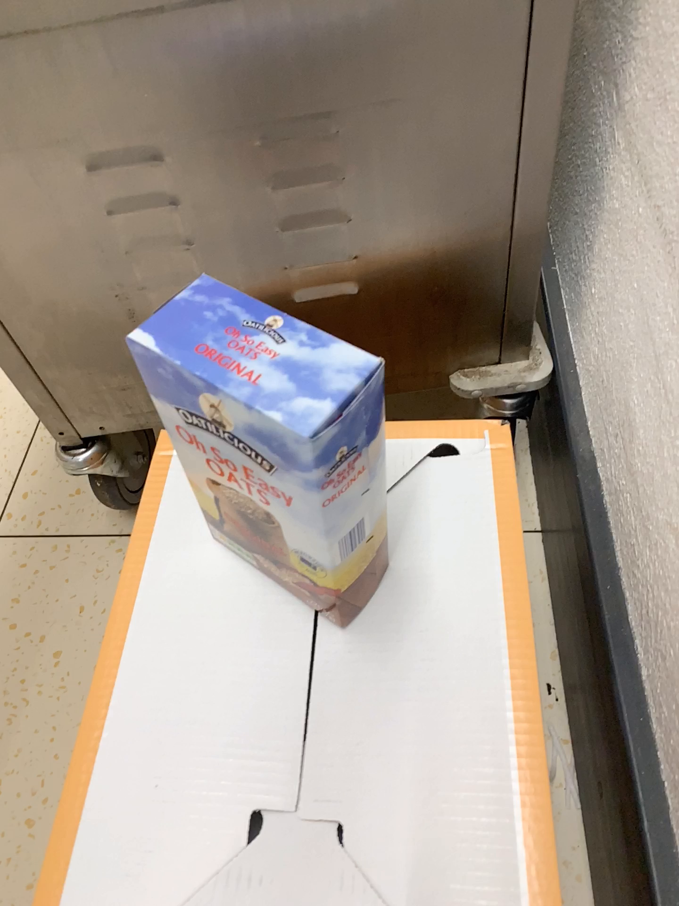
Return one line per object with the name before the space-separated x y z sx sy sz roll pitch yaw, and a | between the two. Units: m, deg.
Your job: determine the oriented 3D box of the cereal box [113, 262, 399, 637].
cereal box | -0.038 0.009 0.429 0.131 0.218 0.060 29 60 27
